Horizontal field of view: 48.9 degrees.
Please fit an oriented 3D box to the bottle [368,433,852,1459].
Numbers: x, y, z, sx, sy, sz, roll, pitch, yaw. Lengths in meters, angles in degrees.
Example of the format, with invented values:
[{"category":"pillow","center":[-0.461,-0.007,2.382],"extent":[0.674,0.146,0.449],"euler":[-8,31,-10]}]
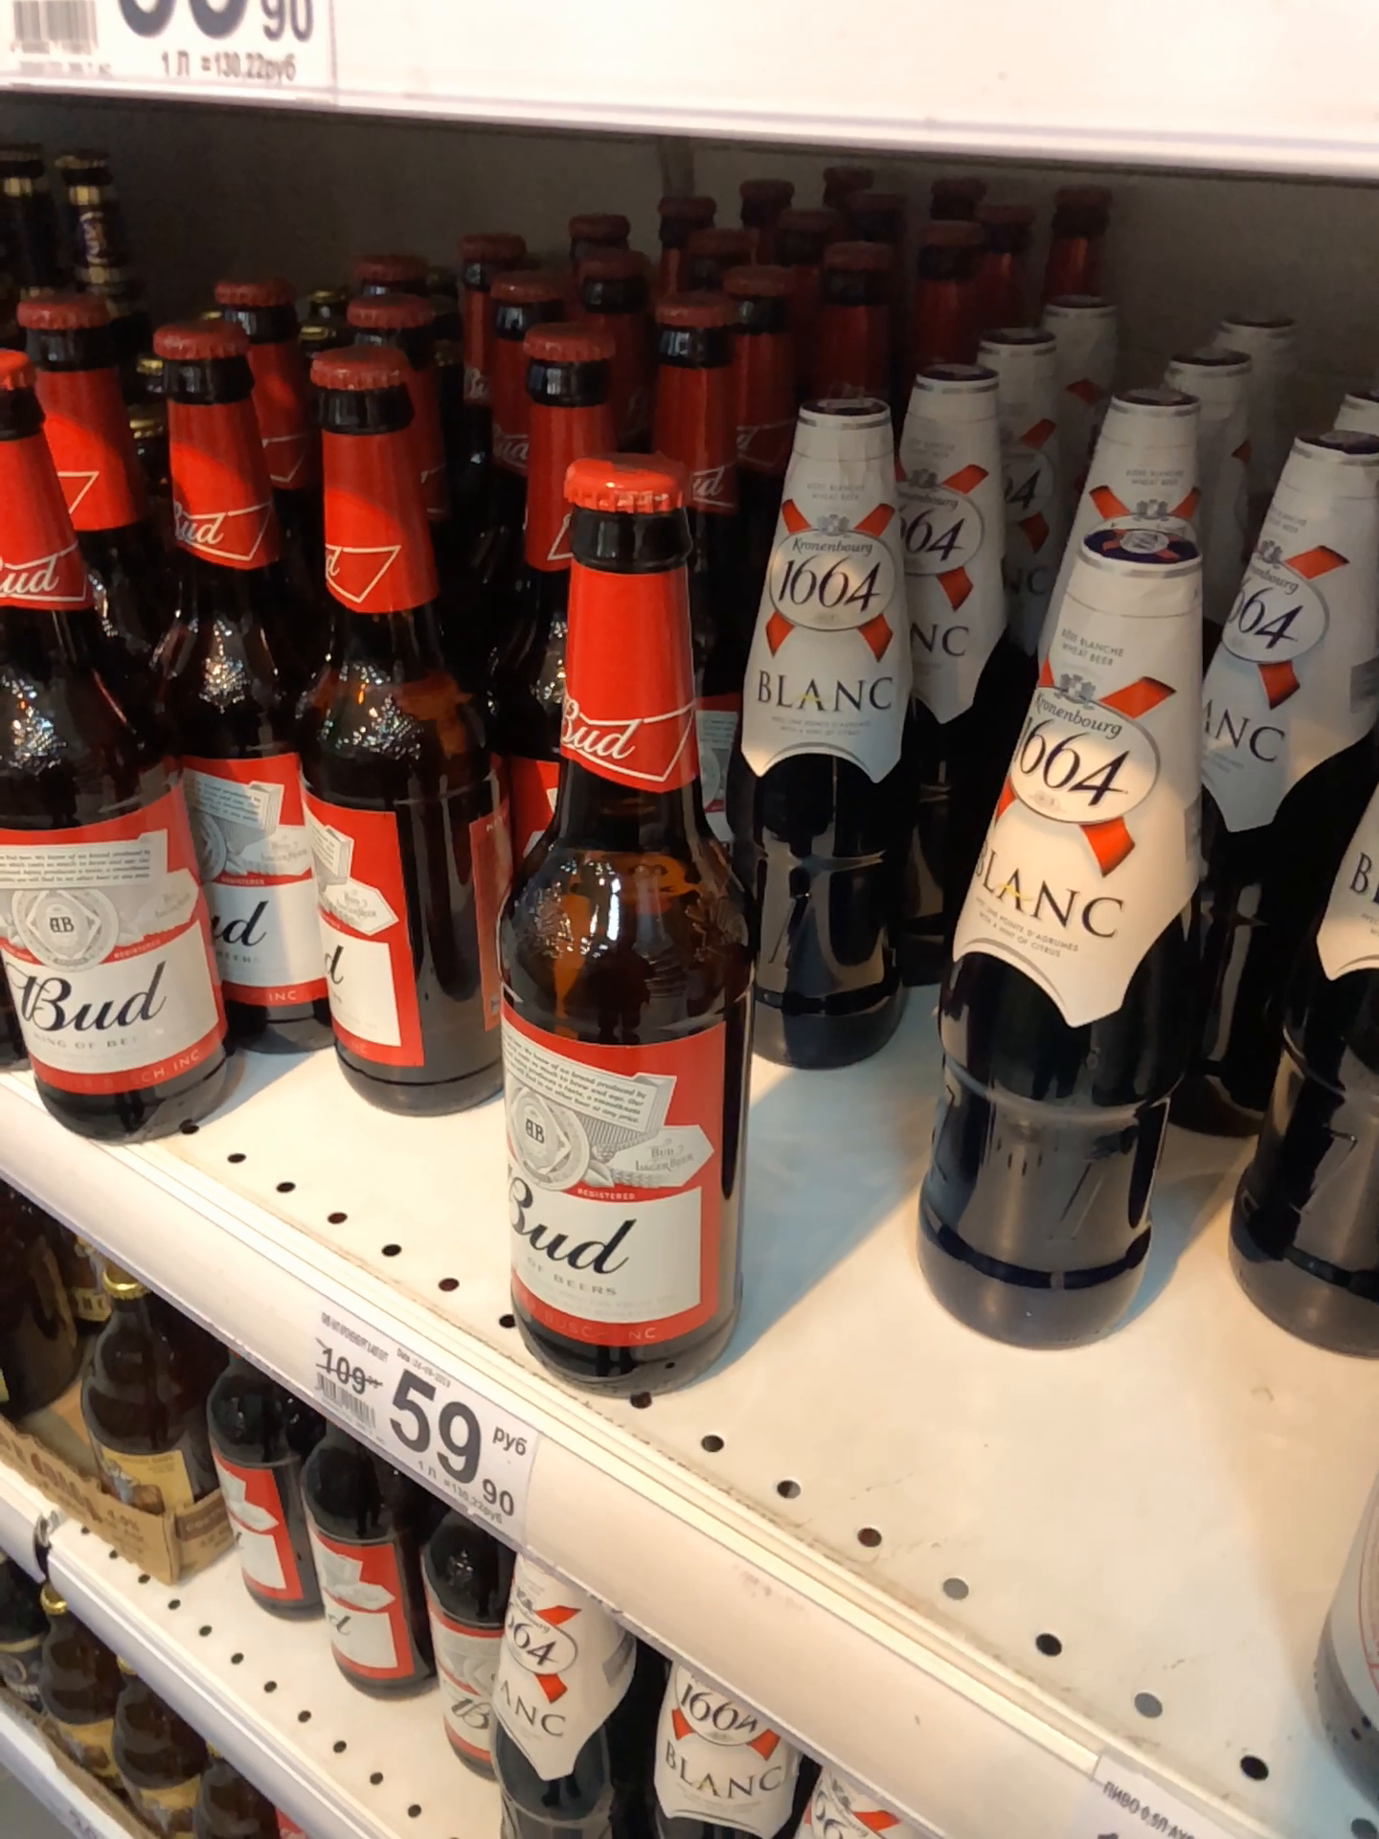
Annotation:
[{"category":"bottle","center":[-0.017,0.013,0.396],"extent":[0.080,0.248,0.070],"euler":[27,41,37]}]
